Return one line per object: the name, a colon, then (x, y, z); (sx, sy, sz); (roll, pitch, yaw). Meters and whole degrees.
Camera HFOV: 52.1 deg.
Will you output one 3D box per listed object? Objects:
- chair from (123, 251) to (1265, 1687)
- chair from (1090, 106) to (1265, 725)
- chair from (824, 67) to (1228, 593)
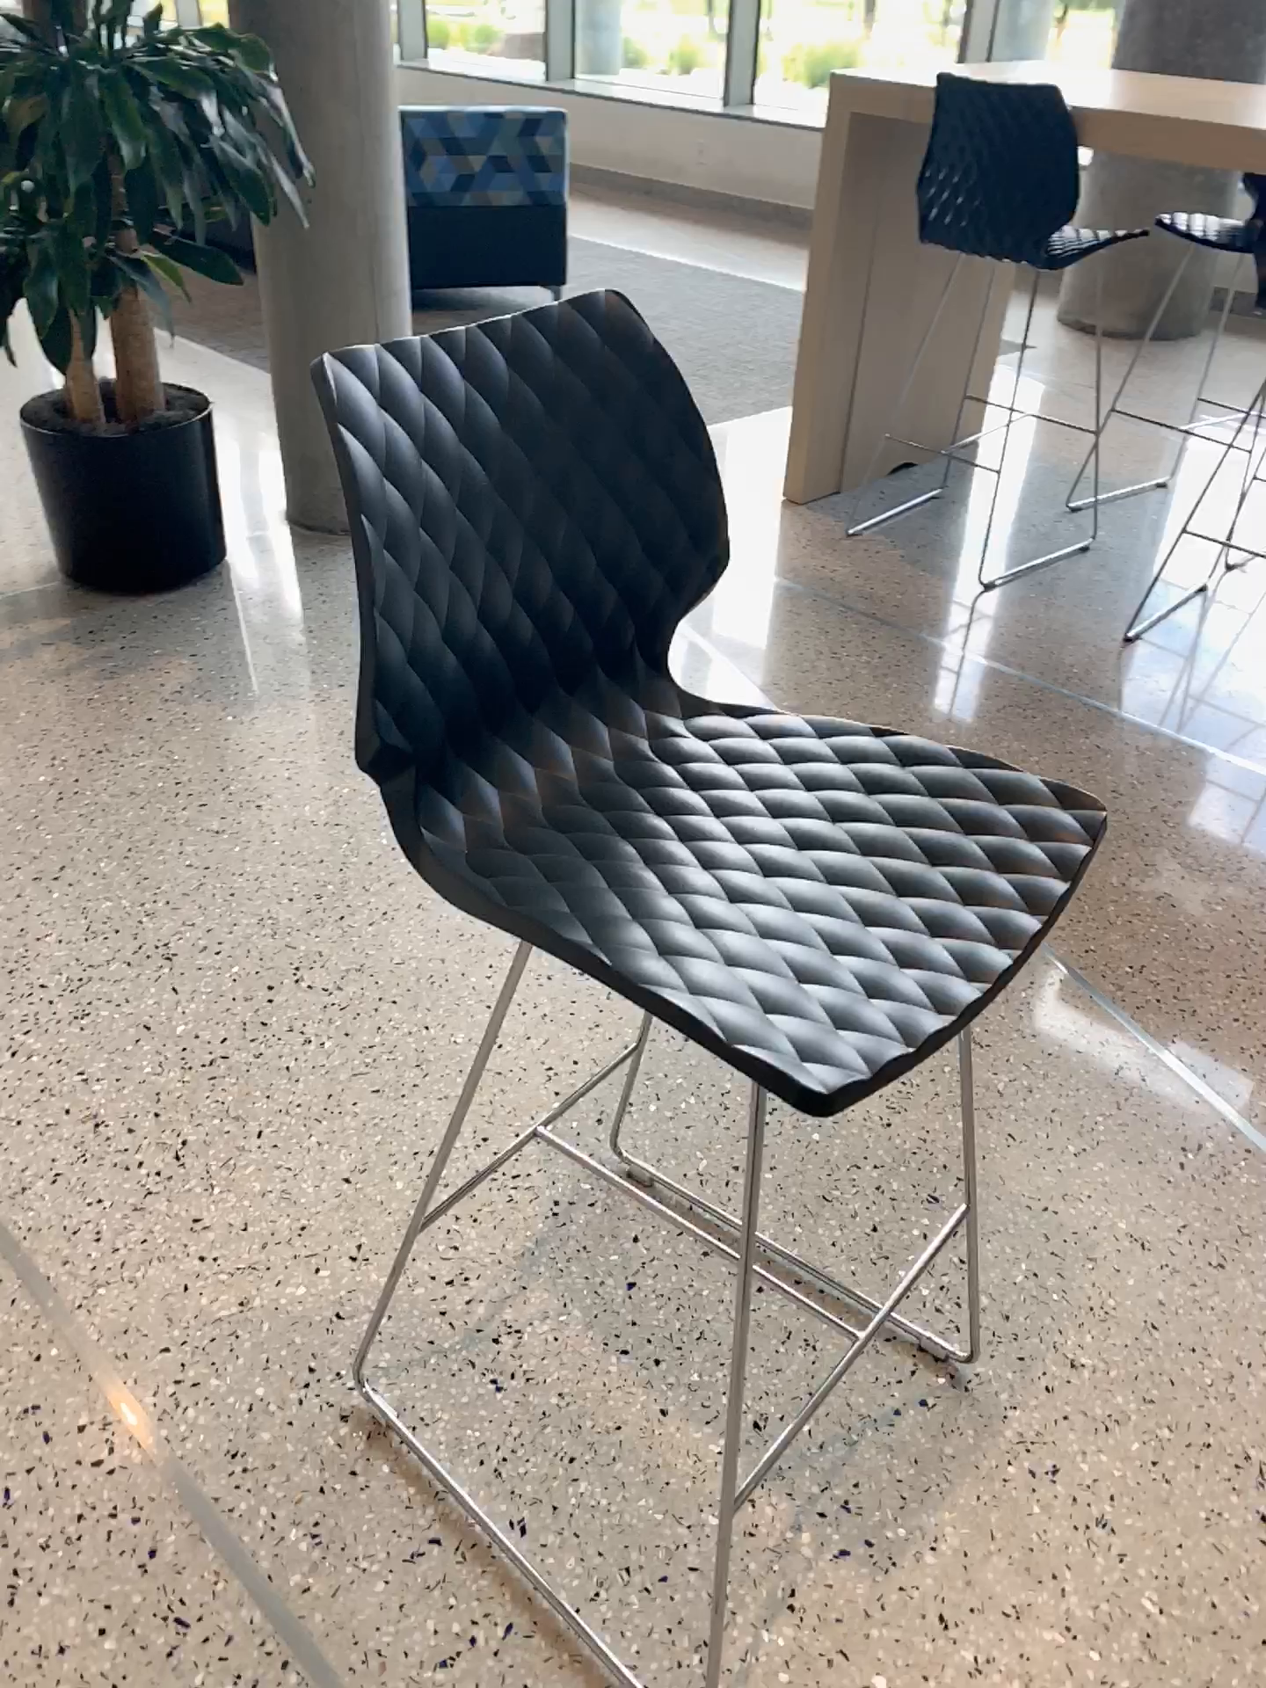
chair: (0.056, 0.141, 1.091); (0.548, 1.048, 0.534); (27, 41, 32)
chair: (1.454, -0.895, 2.683); (0.549, 1.048, 0.534); (-25, 42, -34)
chair: (0.910, -1.256, 3.152); (0.549, 1.048, 0.534); (-25, 42, -34)
